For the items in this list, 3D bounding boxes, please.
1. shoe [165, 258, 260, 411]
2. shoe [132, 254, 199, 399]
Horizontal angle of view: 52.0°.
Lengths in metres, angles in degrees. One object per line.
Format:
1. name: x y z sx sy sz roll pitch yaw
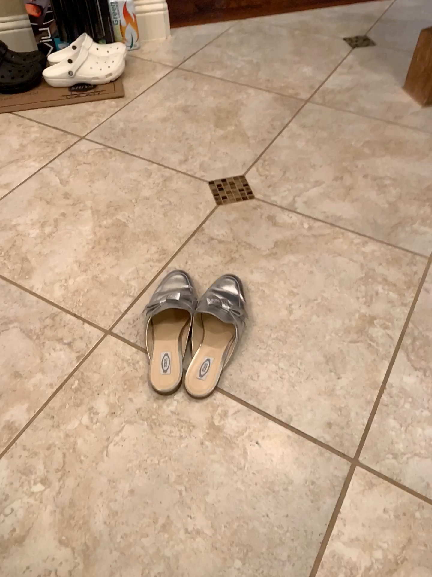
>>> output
1. shoe: 0.003 0.076 0.840 0.101 0.077 0.278 12 52 11
2. shoe: -0.087 0.063 0.847 0.091 0.077 0.281 0 50 2
